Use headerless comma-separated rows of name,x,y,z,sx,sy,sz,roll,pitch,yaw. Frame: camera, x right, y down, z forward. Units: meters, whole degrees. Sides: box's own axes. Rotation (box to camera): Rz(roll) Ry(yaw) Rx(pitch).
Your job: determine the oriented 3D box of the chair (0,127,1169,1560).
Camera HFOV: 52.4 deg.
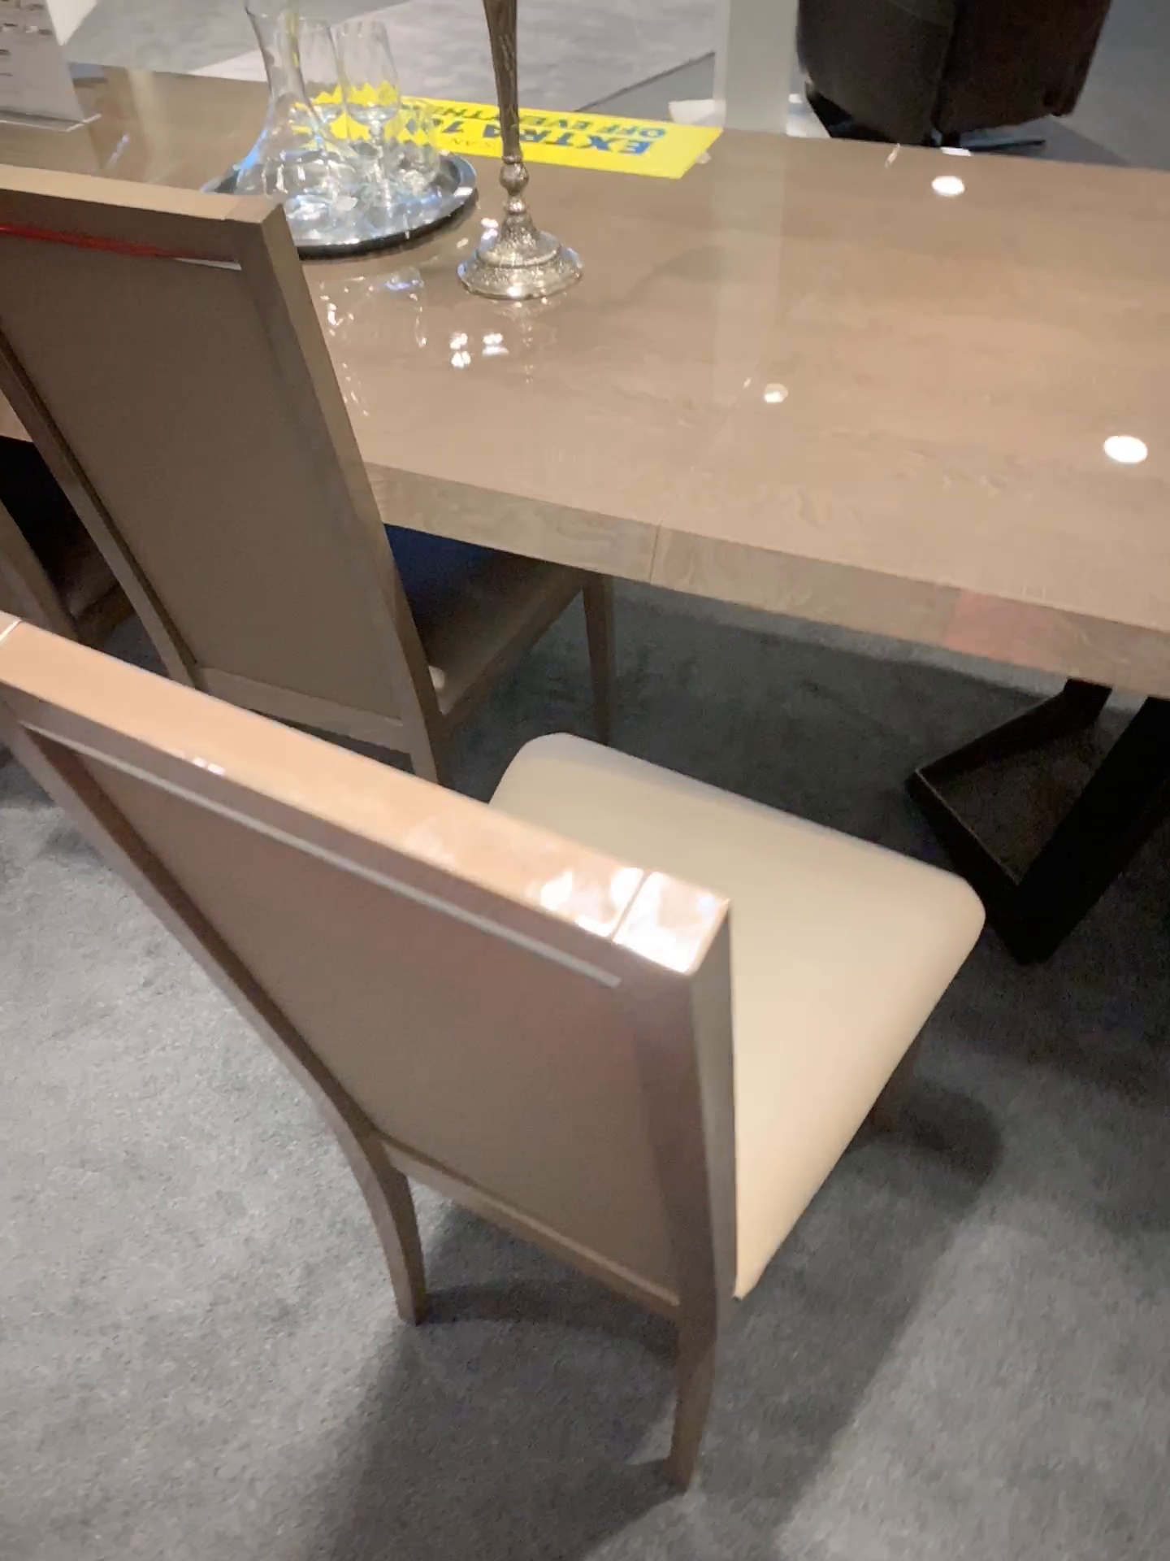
chair,0.023,0.135,0.959,0.499,0.977,0.585,20,53,22
